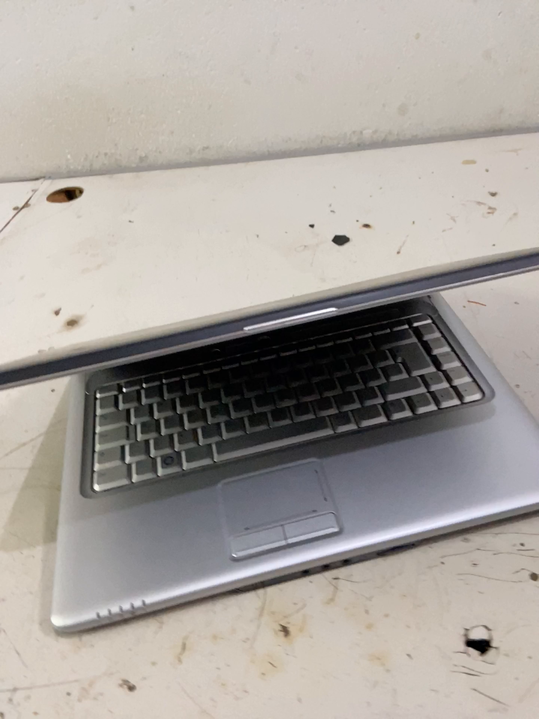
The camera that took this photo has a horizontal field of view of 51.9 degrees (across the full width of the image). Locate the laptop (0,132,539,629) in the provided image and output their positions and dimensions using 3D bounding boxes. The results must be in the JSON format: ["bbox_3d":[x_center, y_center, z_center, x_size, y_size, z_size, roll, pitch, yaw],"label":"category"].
[{"bbox_3d":[0.005,-0.010,0.386,0.347,0.145,0.239,-13,43,-5],"label":"laptop"}]
